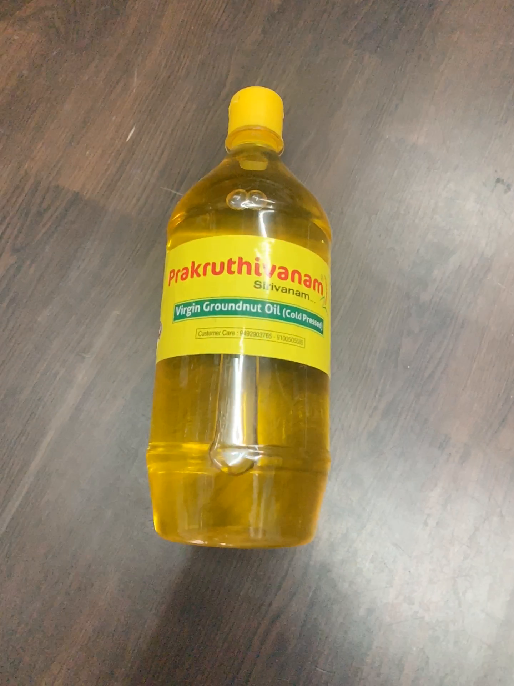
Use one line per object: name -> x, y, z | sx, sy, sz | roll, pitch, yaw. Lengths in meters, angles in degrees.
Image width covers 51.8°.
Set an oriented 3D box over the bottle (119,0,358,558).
bottle -> -0.003, -0.037, 0.270 | 0.090, 0.080, 0.260 | 4, 76, -4
